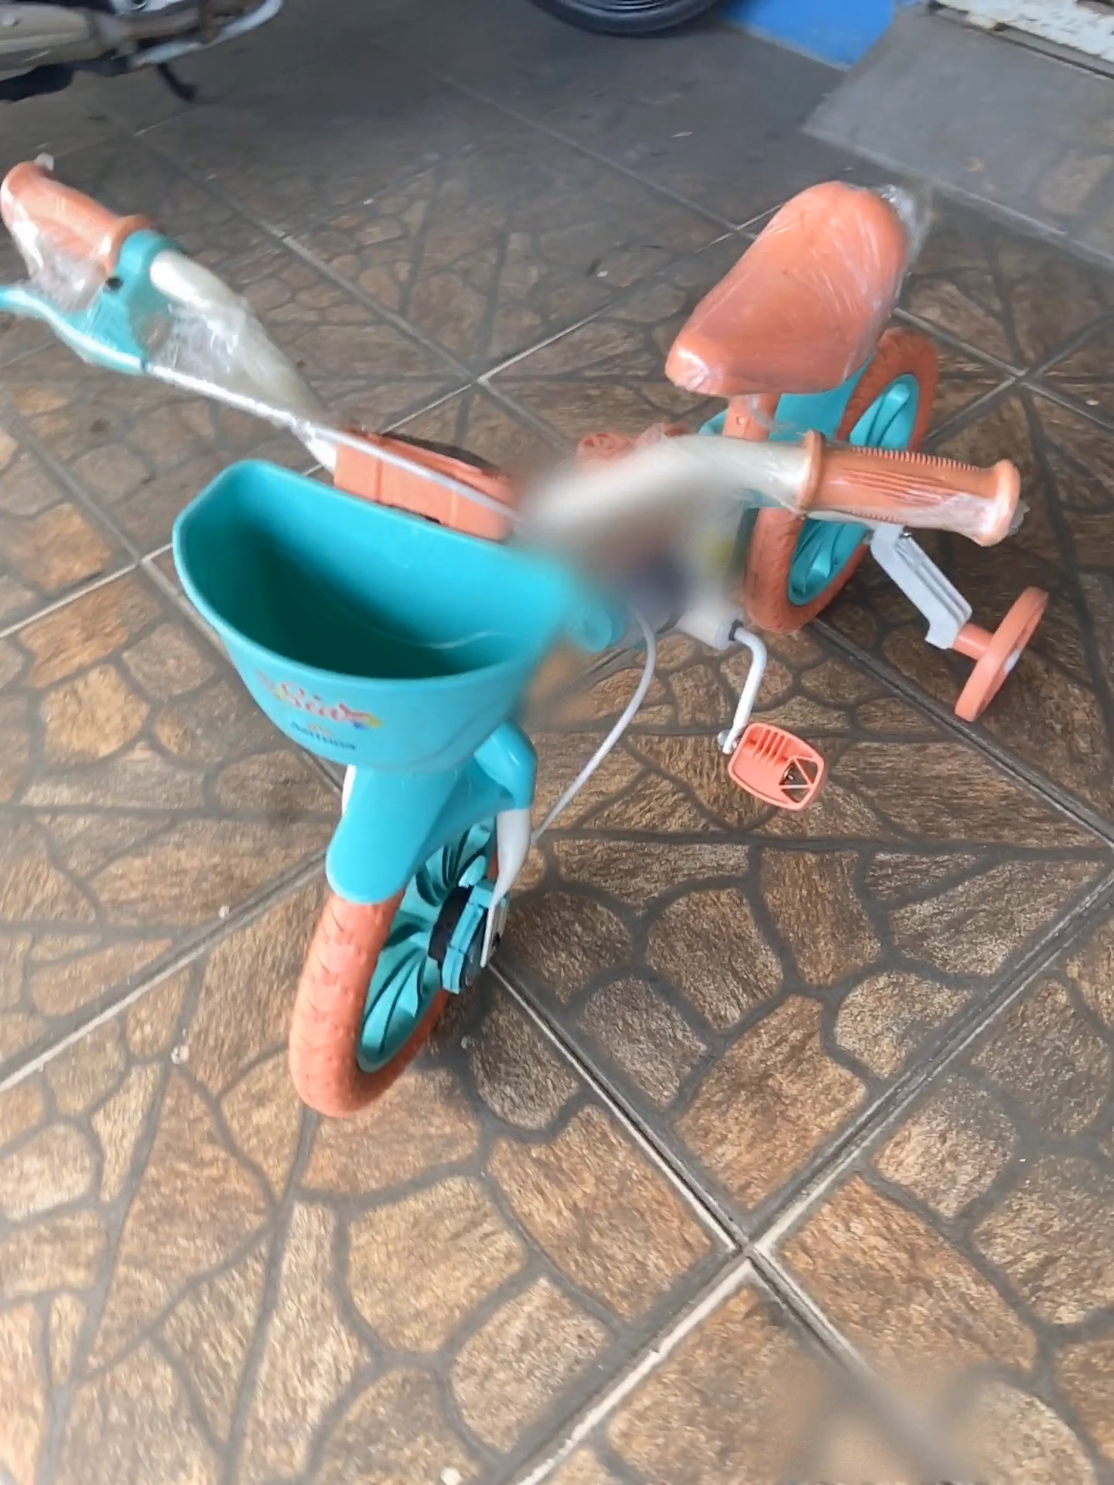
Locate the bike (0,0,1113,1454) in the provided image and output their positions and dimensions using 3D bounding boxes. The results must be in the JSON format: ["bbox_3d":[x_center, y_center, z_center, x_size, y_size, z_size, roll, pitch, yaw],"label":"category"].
[{"bbox_3d":[0.108,-0.127,0.770,0.499,0.534,0.809,29,57,24],"label":"bike"}]
